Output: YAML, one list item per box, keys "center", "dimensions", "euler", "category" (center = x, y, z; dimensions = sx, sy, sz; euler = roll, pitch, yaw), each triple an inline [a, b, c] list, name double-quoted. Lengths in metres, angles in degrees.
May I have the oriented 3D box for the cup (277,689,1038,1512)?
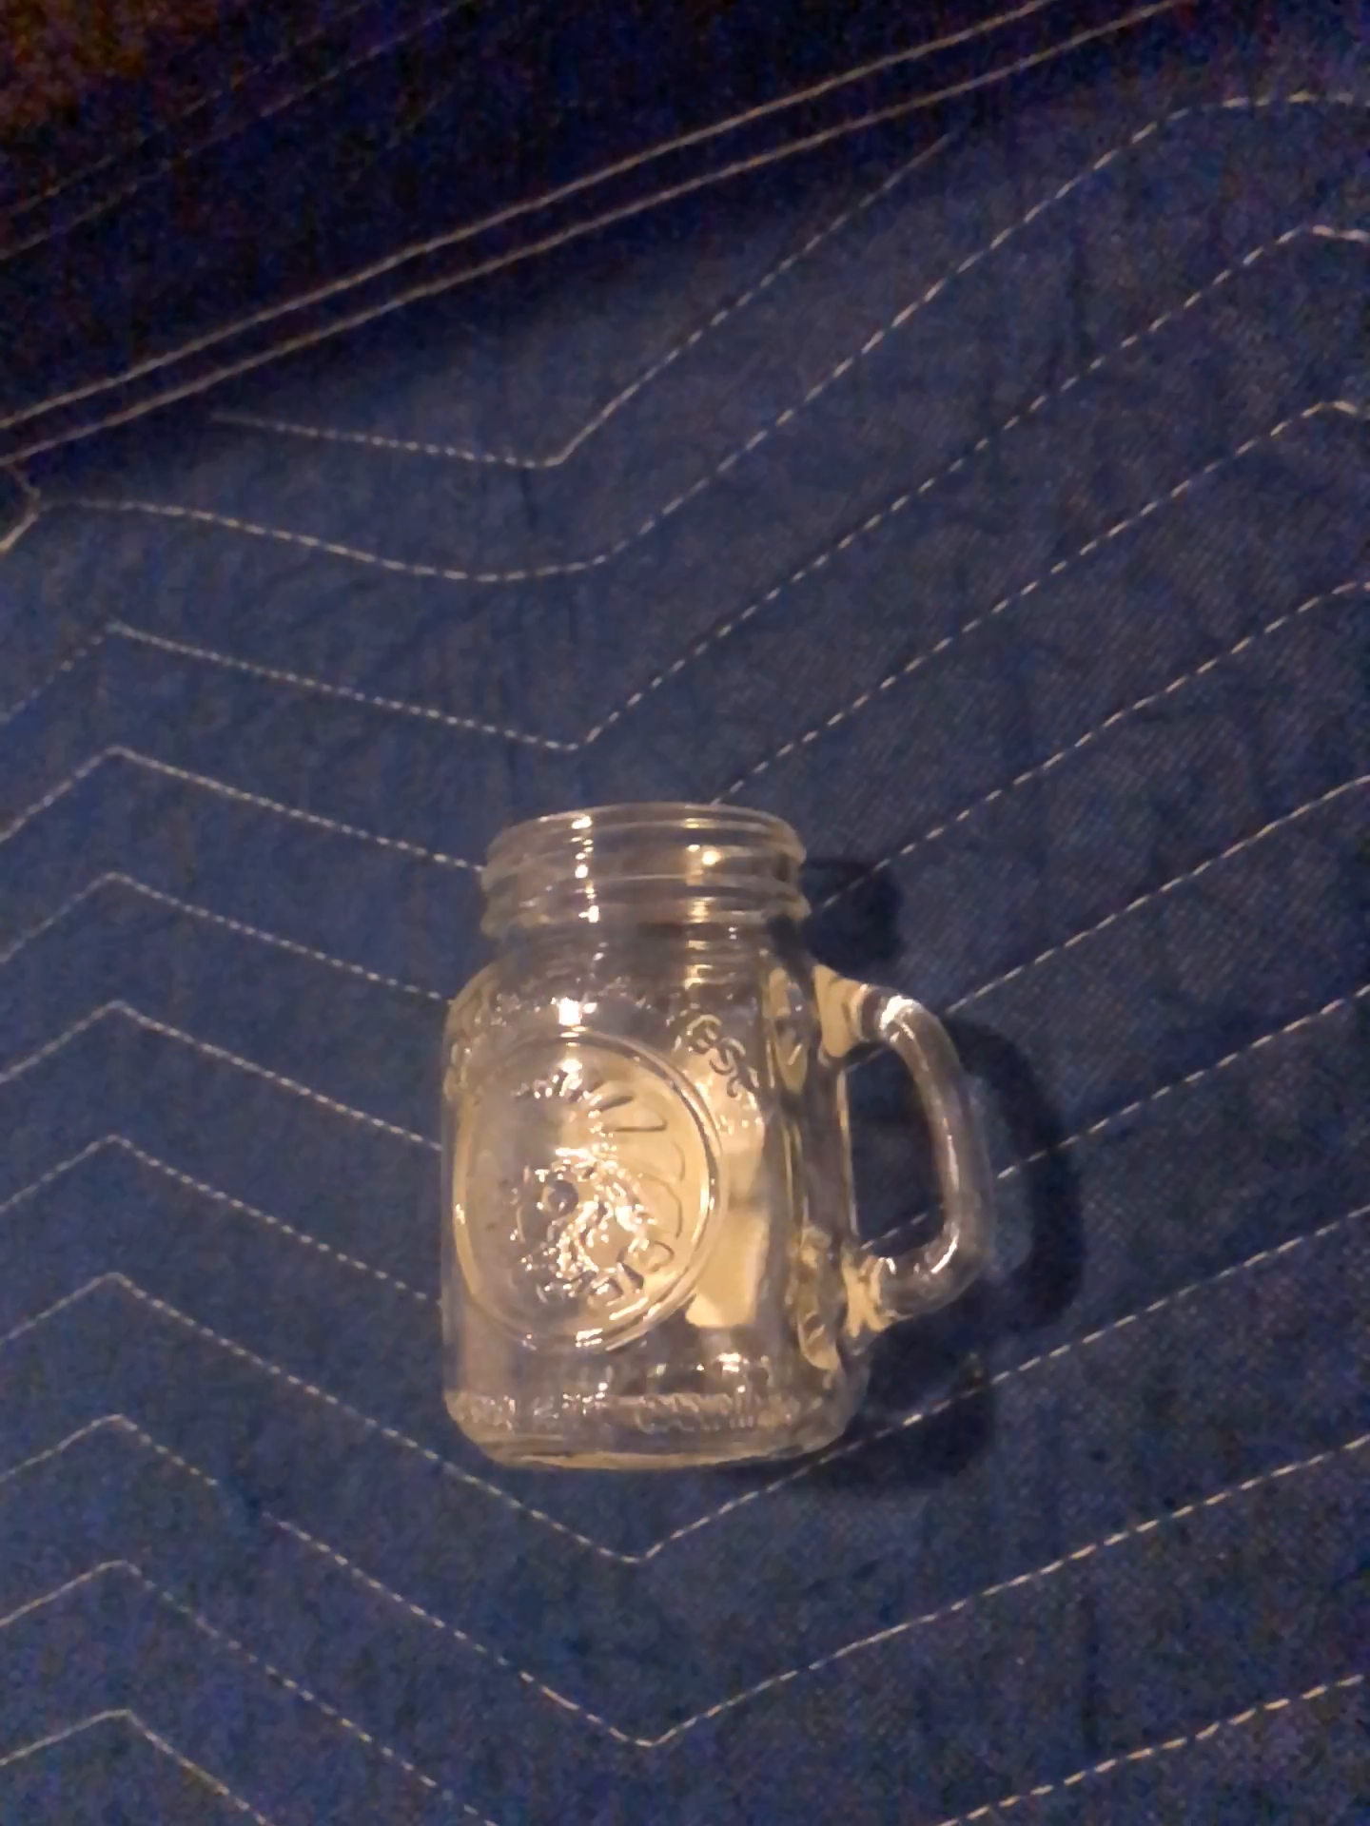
- center: [-0.006, 0.029, 0.218]
  dimensions: [0.088, 0.043, 0.095]
  euler: [-2, 85, 30]
  category: "cup"
